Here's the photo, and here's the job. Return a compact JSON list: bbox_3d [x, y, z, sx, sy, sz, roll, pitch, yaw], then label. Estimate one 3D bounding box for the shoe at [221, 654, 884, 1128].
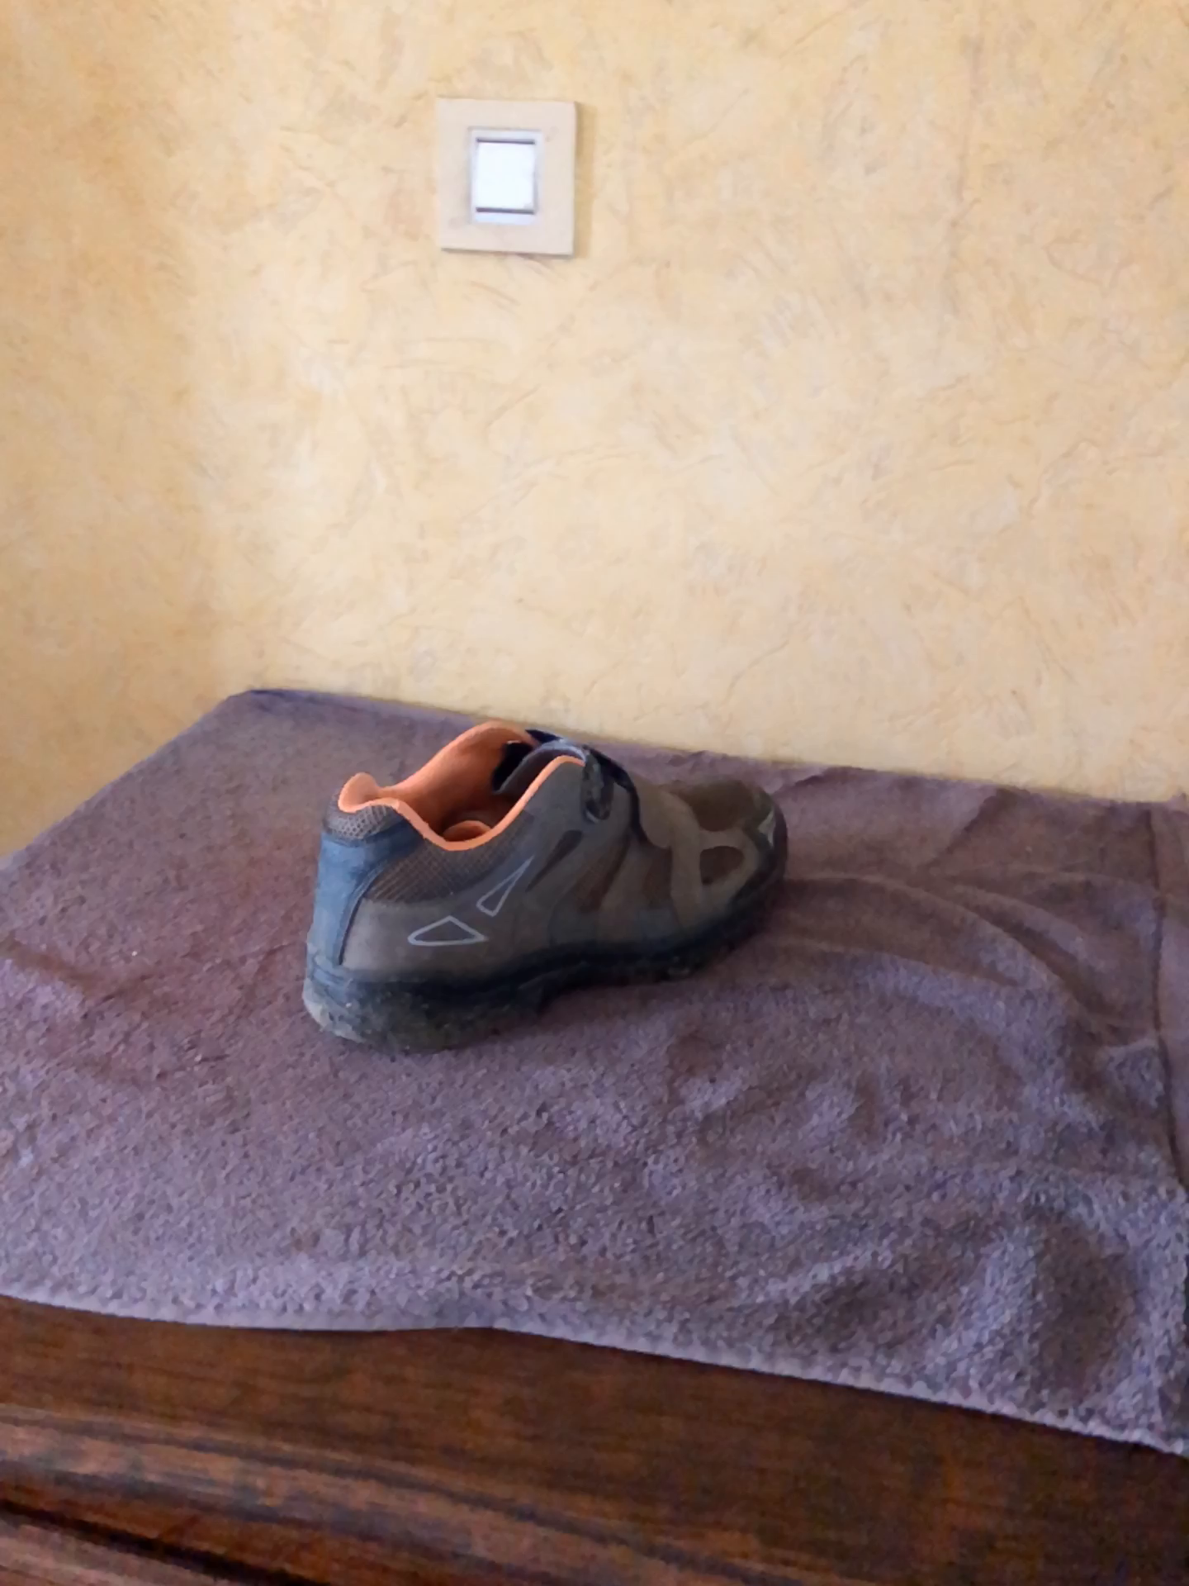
[{"bbox_3d":[-0.009,0.026,0.579,0.271,0.099,0.110,-17,31,-35],"label":"shoe"}]
